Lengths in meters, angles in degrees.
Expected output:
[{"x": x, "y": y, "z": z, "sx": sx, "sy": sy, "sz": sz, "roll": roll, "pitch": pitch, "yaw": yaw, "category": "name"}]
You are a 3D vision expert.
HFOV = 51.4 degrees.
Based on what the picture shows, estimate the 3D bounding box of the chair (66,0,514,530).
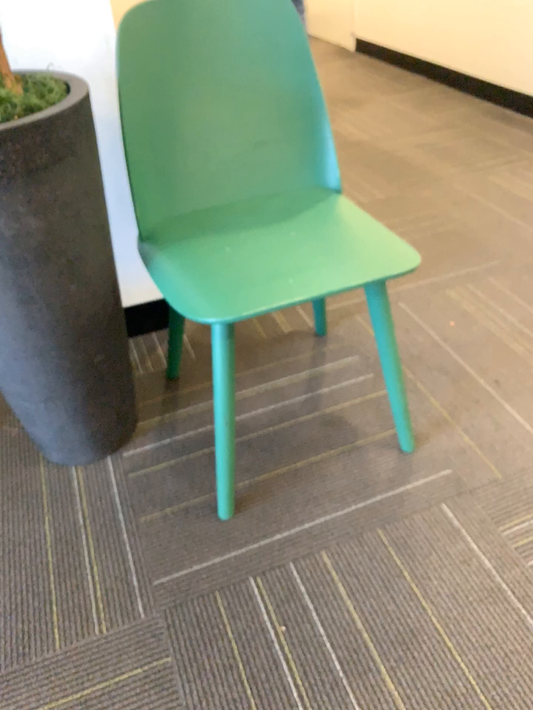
[{"x": -0.037, "y": -0.228, "z": 0.969, "sx": 0.390, "sy": 0.626, "sz": 0.714, "roll": -15, "pitch": 40, "yaw": -13, "category": "chair"}]
